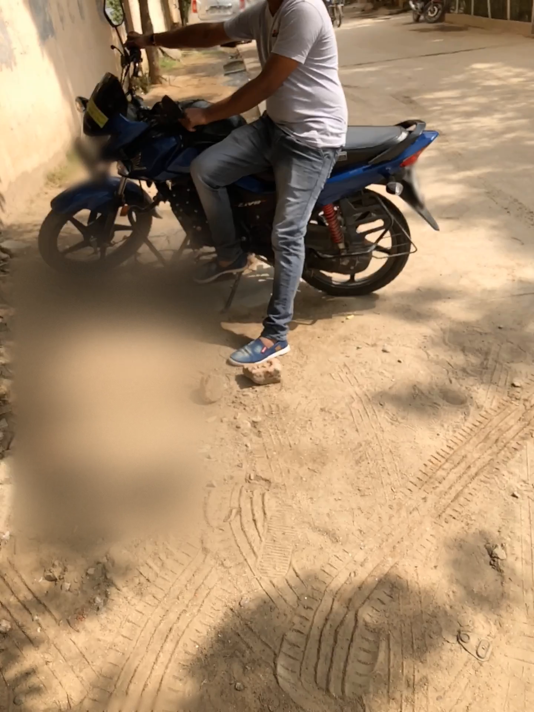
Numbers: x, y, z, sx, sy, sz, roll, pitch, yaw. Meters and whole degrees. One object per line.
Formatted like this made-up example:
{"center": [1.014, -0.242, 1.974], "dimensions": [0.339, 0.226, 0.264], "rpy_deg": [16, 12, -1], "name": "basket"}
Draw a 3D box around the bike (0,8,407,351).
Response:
{"center": [-0.295, -0.767, 2.622], "dimensions": [1.782, 1.242, 0.744], "rpy_deg": [1, 33, 8], "name": "bike"}
